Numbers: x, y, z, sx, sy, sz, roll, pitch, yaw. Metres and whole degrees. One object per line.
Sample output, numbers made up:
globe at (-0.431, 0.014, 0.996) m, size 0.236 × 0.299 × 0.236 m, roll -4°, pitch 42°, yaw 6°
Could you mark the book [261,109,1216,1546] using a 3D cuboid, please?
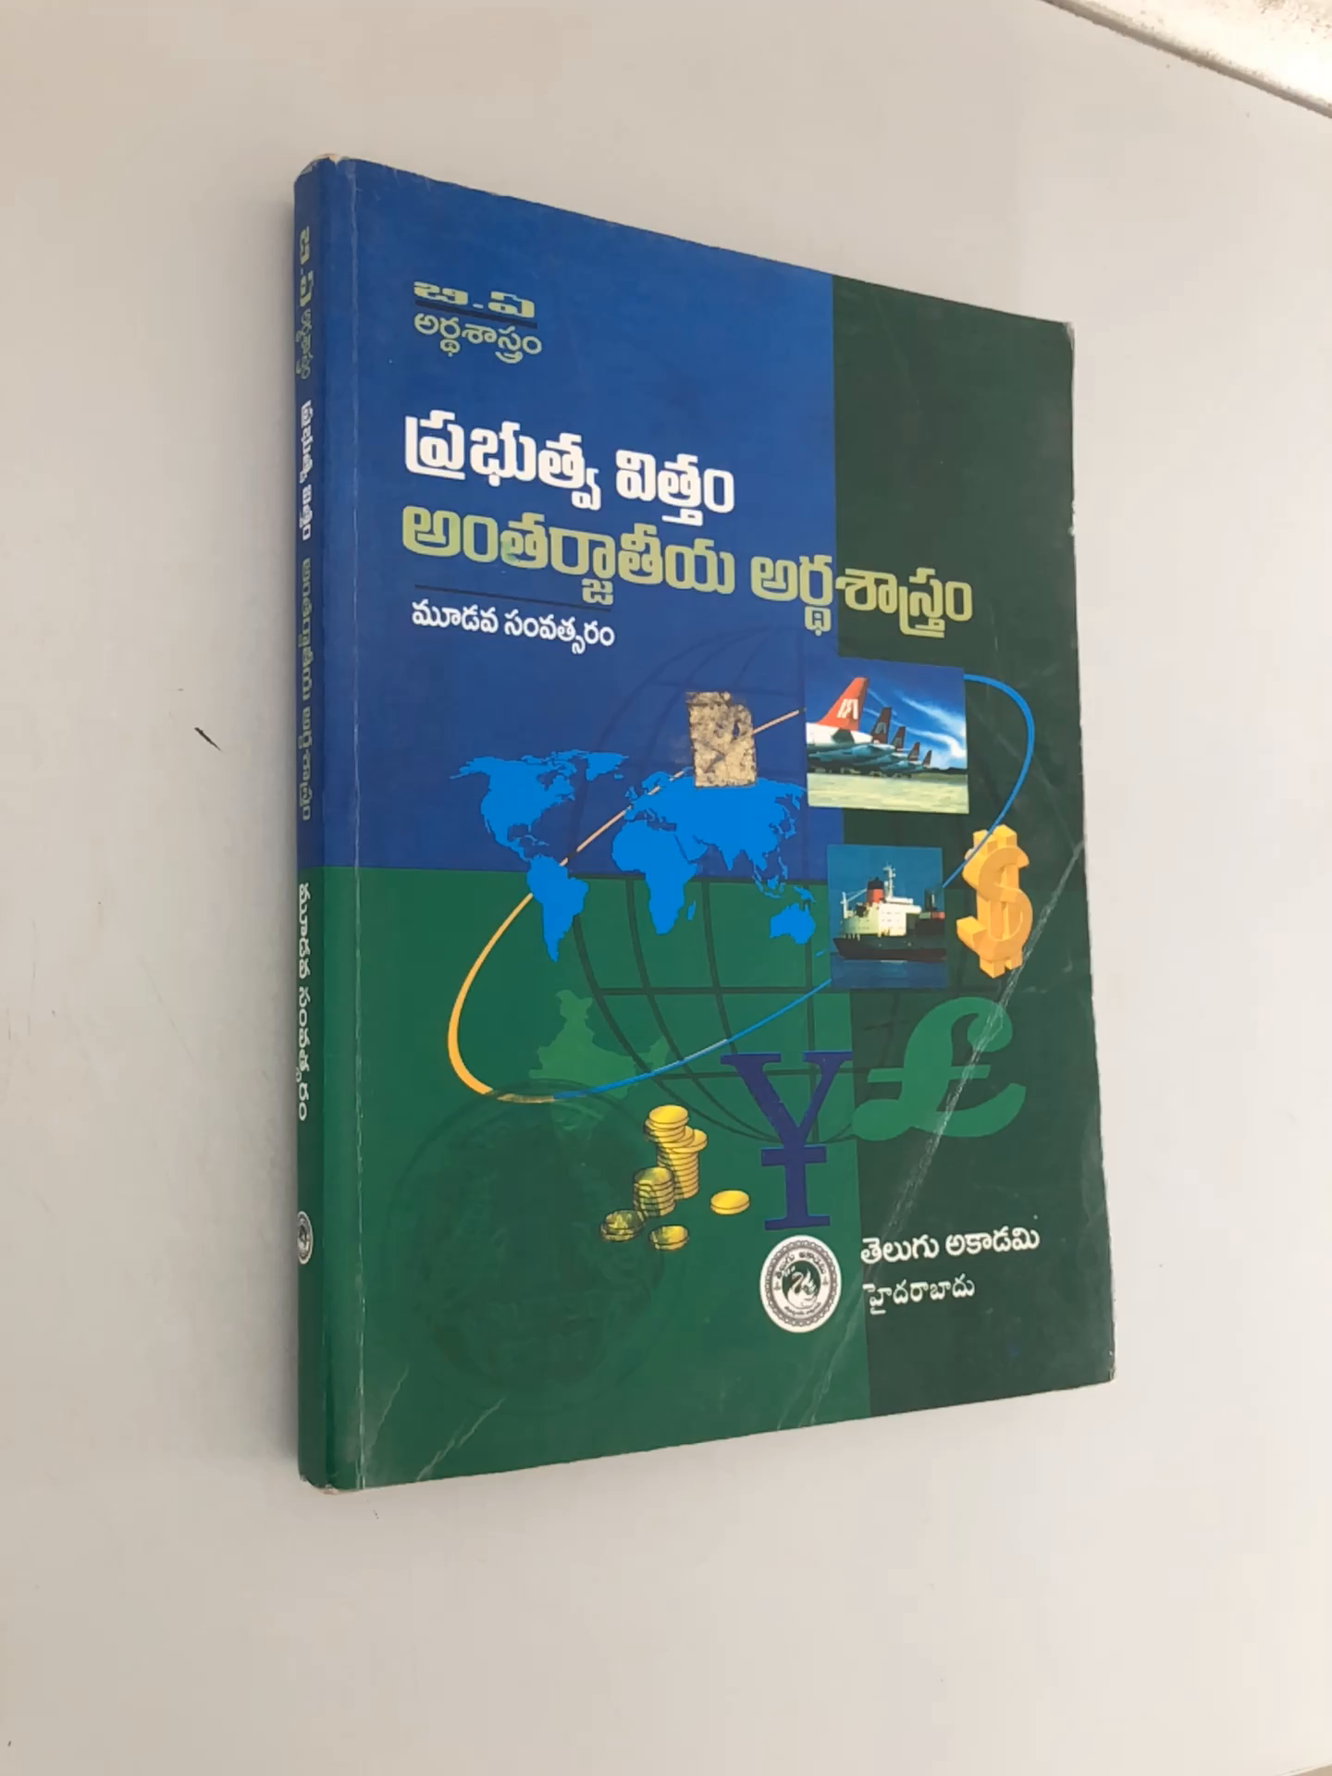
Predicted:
book at (0.017, -0.012, 0.308) m, size 0.190 × 0.050 × 0.240 m, roll 1°, pitch 83°, yaw -26°
